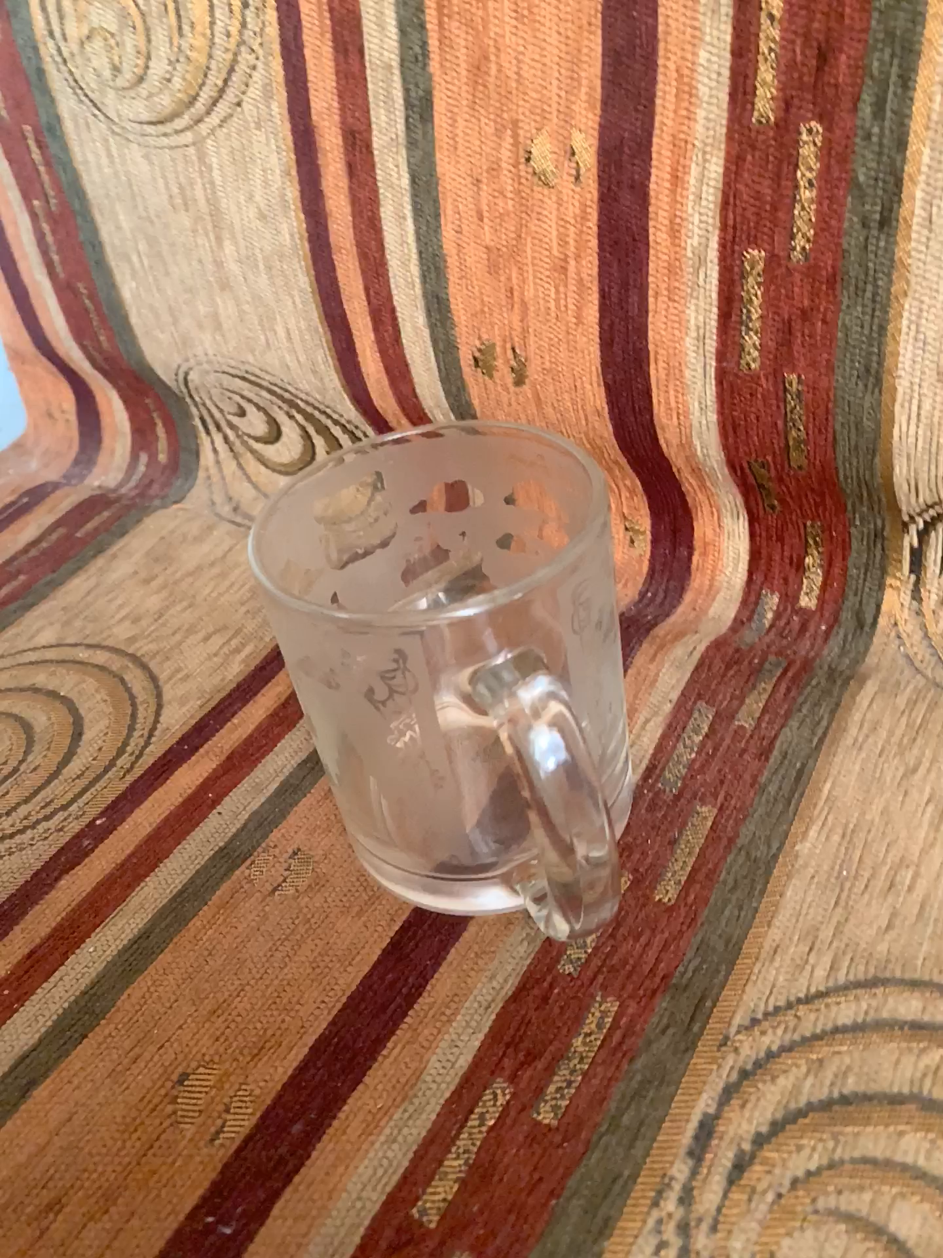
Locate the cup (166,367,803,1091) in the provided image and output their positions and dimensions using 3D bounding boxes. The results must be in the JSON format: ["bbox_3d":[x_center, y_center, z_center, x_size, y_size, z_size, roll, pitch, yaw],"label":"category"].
[{"bbox_3d":[-0.002,0.011,0.219,0.084,0.086,0.115,-23,38,-17],"label":"cup"}]
